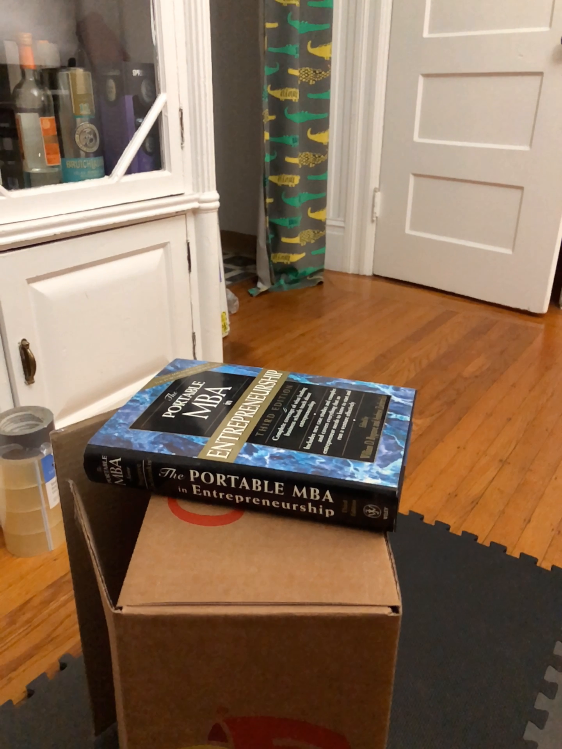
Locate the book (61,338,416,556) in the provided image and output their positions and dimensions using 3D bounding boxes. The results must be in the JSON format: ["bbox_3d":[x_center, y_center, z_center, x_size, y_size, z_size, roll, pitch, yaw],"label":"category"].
[{"bbox_3d":[-0.021,0.048,0.573,0.270,0.060,0.211,8,25,12],"label":"book"}]
